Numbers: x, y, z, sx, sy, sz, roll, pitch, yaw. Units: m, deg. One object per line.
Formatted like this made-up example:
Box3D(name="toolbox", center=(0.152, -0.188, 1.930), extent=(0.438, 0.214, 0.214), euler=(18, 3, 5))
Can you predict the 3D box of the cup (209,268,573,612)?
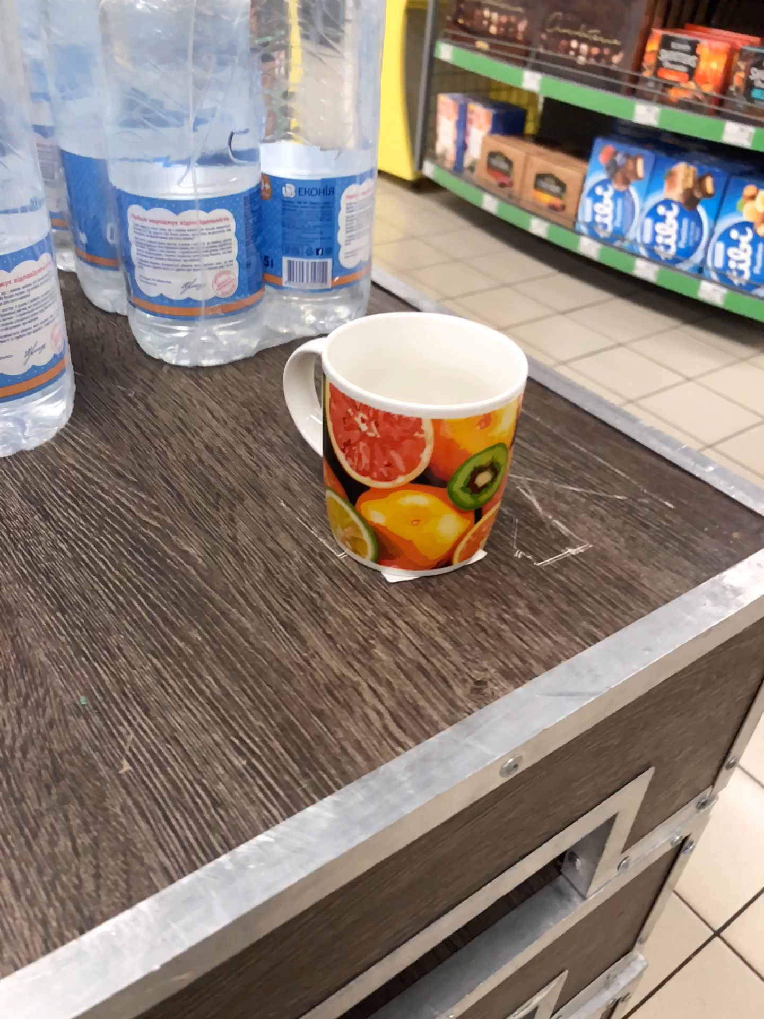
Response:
Box3D(name="cup", center=(0.000, -0.039, 0.381), extent=(0.126, 0.085, 0.091), euler=(31, 44, 32))
